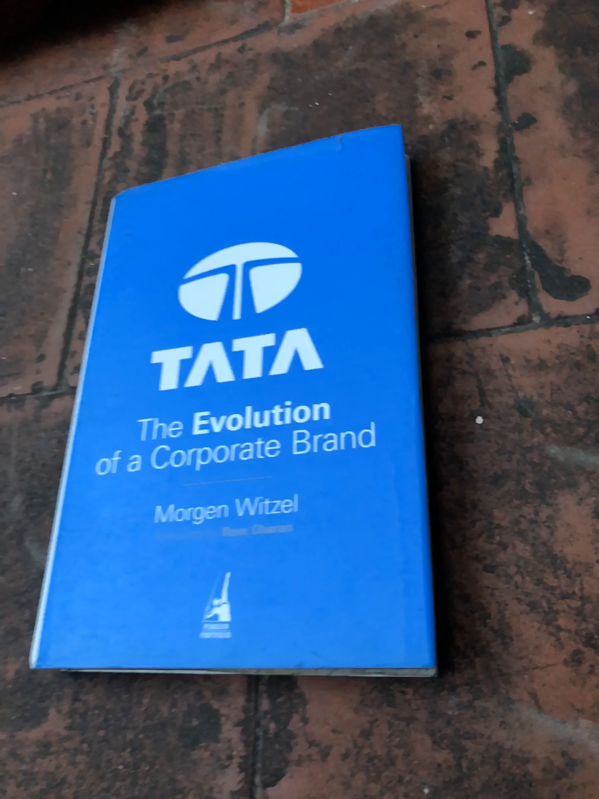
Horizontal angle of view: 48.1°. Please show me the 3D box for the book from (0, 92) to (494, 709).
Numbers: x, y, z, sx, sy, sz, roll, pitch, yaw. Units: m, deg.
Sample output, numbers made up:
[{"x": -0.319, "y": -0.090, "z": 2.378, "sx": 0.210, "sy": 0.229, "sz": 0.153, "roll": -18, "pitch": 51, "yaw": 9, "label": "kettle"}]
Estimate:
[{"x": -0.020, "y": -0.006, "z": 0.280, "sx": 0.170, "sy": 0.040, "sz": 0.240, "roll": -7, "pitch": 63, "yaw": 18, "label": "book"}]
